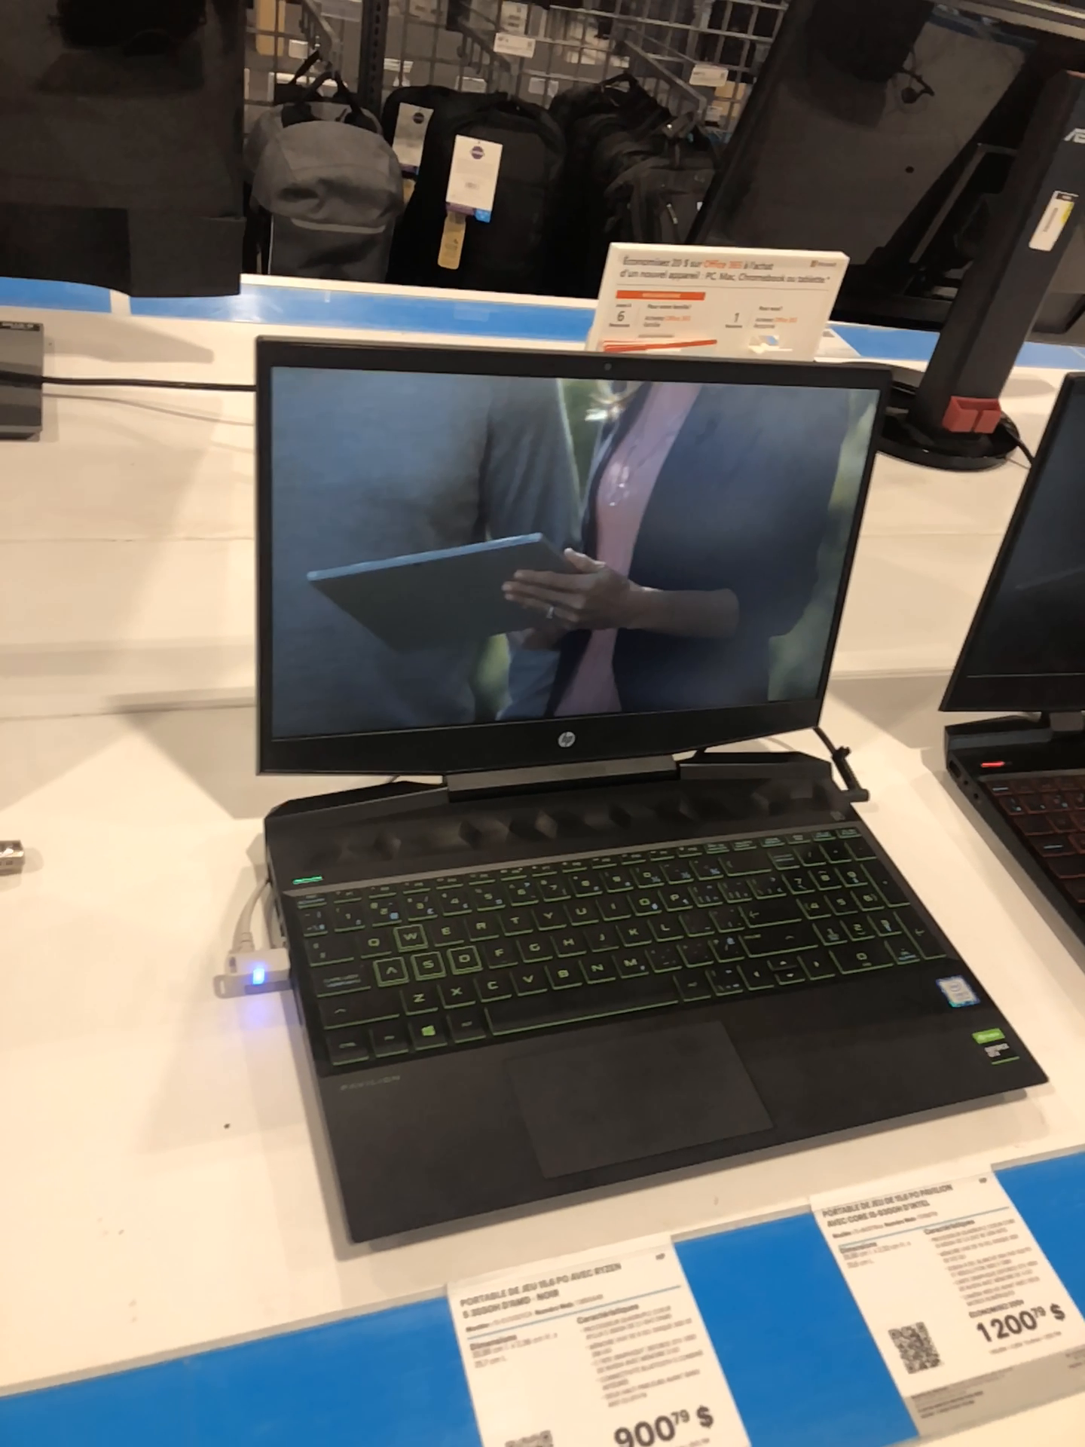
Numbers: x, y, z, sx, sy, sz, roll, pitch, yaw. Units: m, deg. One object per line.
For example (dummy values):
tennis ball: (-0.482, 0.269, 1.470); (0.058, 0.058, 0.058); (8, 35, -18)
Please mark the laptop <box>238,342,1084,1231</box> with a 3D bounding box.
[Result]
laptop: (0.059, 0.001, 0.581); (0.355, 0.232, 0.317); (-4, 40, -23)
